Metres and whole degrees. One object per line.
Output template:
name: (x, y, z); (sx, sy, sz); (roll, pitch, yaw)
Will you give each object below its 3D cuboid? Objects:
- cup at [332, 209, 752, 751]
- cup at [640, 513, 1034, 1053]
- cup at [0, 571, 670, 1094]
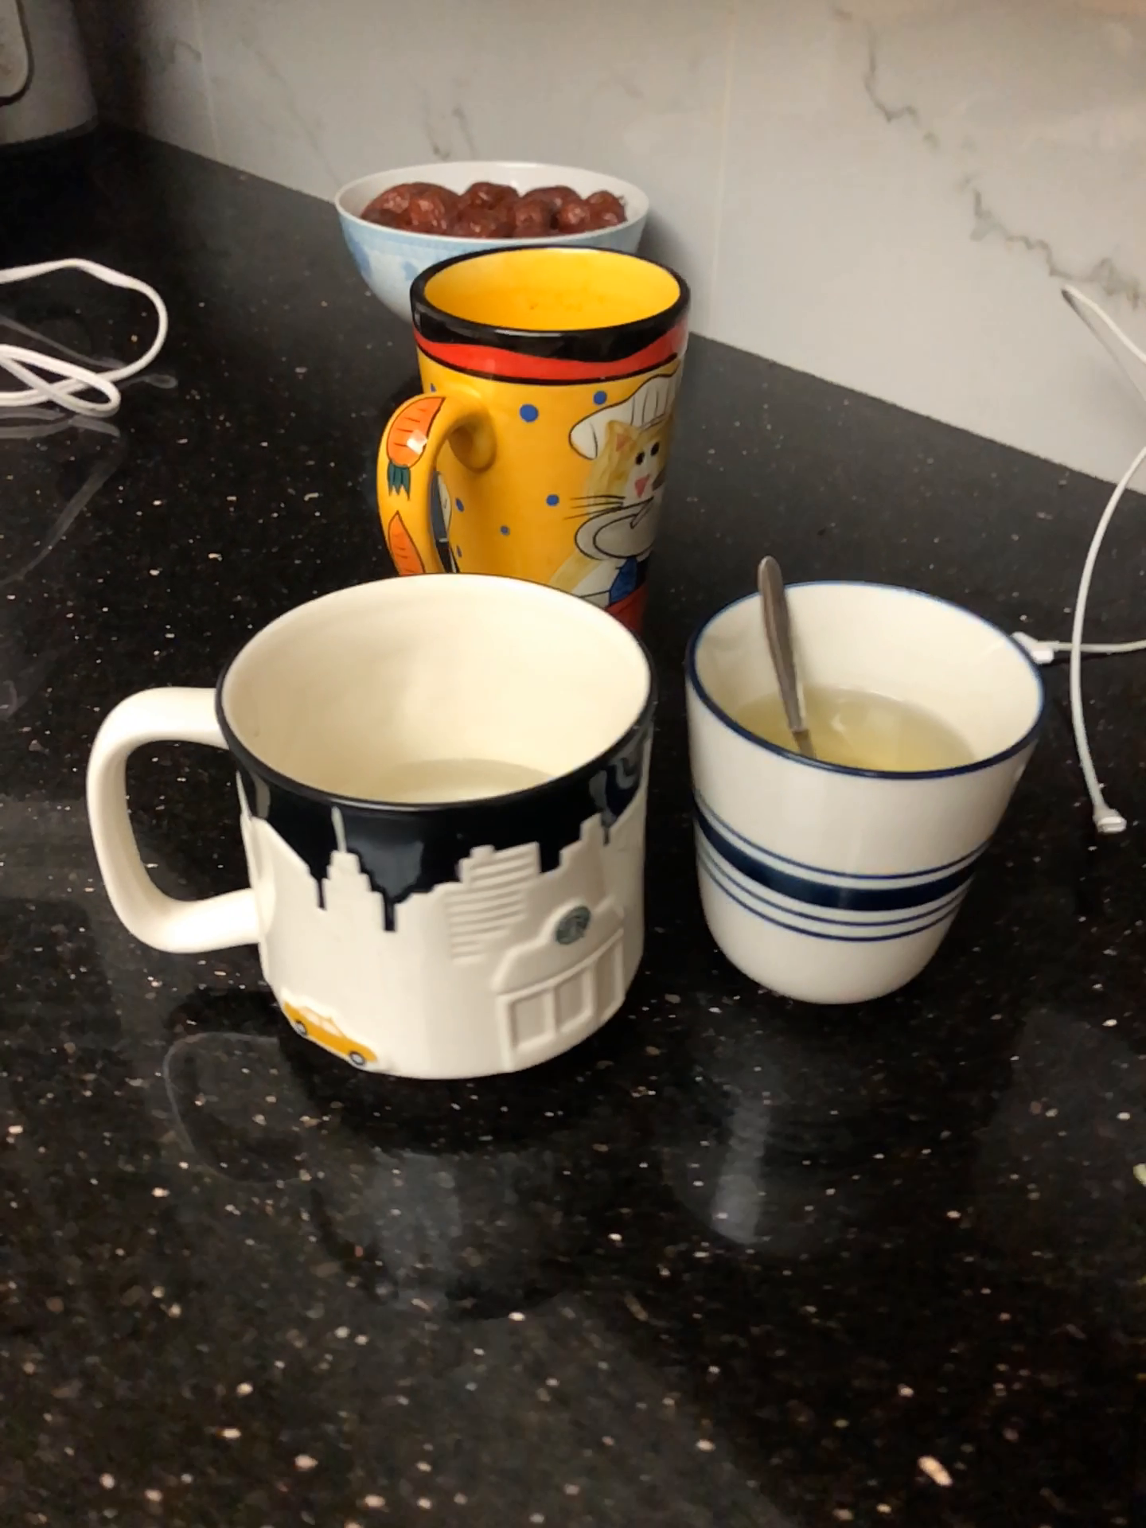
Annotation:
cup: (-0.008, -0.095, 0.410); (0.080, 0.129, 0.100); (23, 43, 26)
cup: (0.069, -0.001, 0.343); (0.080, 0.080, 0.121); (8, 38, 8)
cup: (-0.052, 0.012, 0.335); (0.150, 0.070, 0.121); (3, 38, 2)
